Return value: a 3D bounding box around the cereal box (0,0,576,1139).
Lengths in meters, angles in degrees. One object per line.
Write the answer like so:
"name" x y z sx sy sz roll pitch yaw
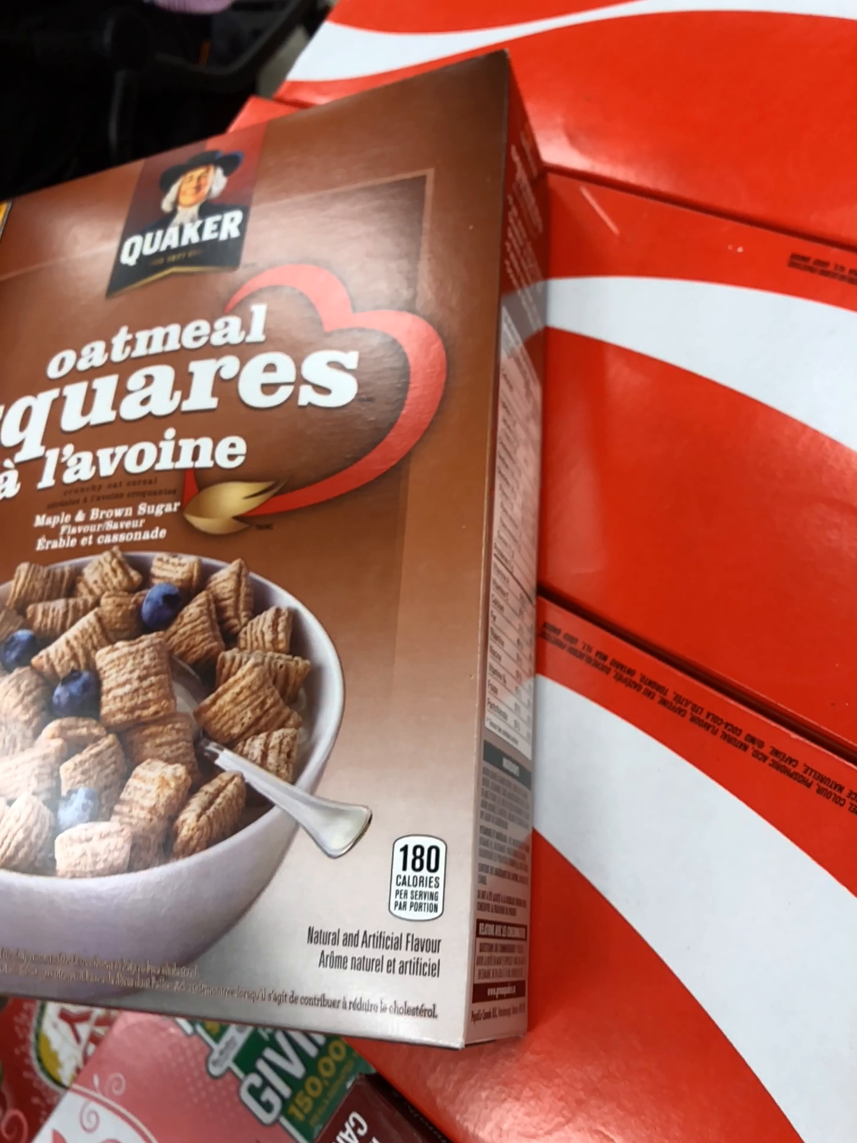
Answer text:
"cereal box" -0.083 -0.023 0.278 0.240 0.050 0.290 -5 67 22
